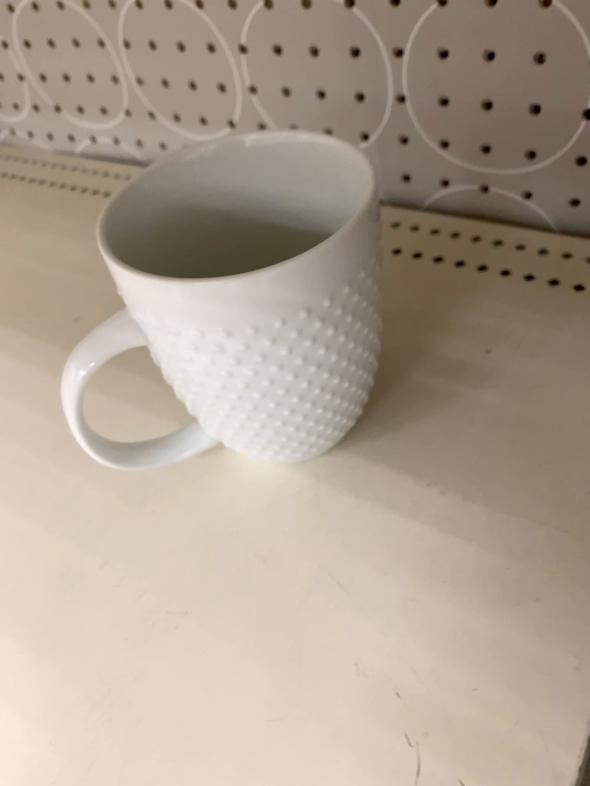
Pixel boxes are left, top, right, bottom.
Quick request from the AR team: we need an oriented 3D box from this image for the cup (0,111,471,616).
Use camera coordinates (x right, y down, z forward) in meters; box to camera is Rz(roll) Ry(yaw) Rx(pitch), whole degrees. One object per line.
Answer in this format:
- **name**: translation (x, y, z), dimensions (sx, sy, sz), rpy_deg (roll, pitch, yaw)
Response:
- **cup**: translation (-0.019, -0.015, 0.235), dimensions (0.137, 0.105, 0.094), rpy_deg (-34, 50, -16)
